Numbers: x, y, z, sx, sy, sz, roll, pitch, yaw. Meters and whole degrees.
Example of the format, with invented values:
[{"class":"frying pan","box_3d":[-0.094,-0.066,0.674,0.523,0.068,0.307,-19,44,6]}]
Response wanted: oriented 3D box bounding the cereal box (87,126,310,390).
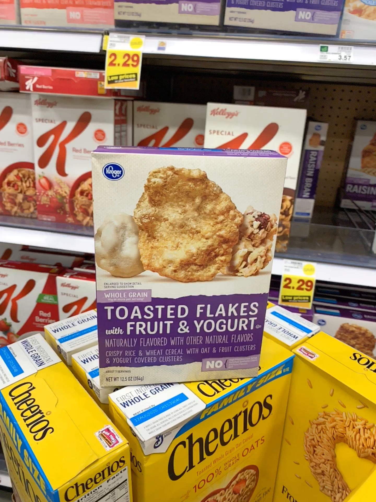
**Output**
[{"class":"cereal box","box_3d":[0.001,0.014,0.419,0.200,0.269,0.060,0,22,-10]}]
